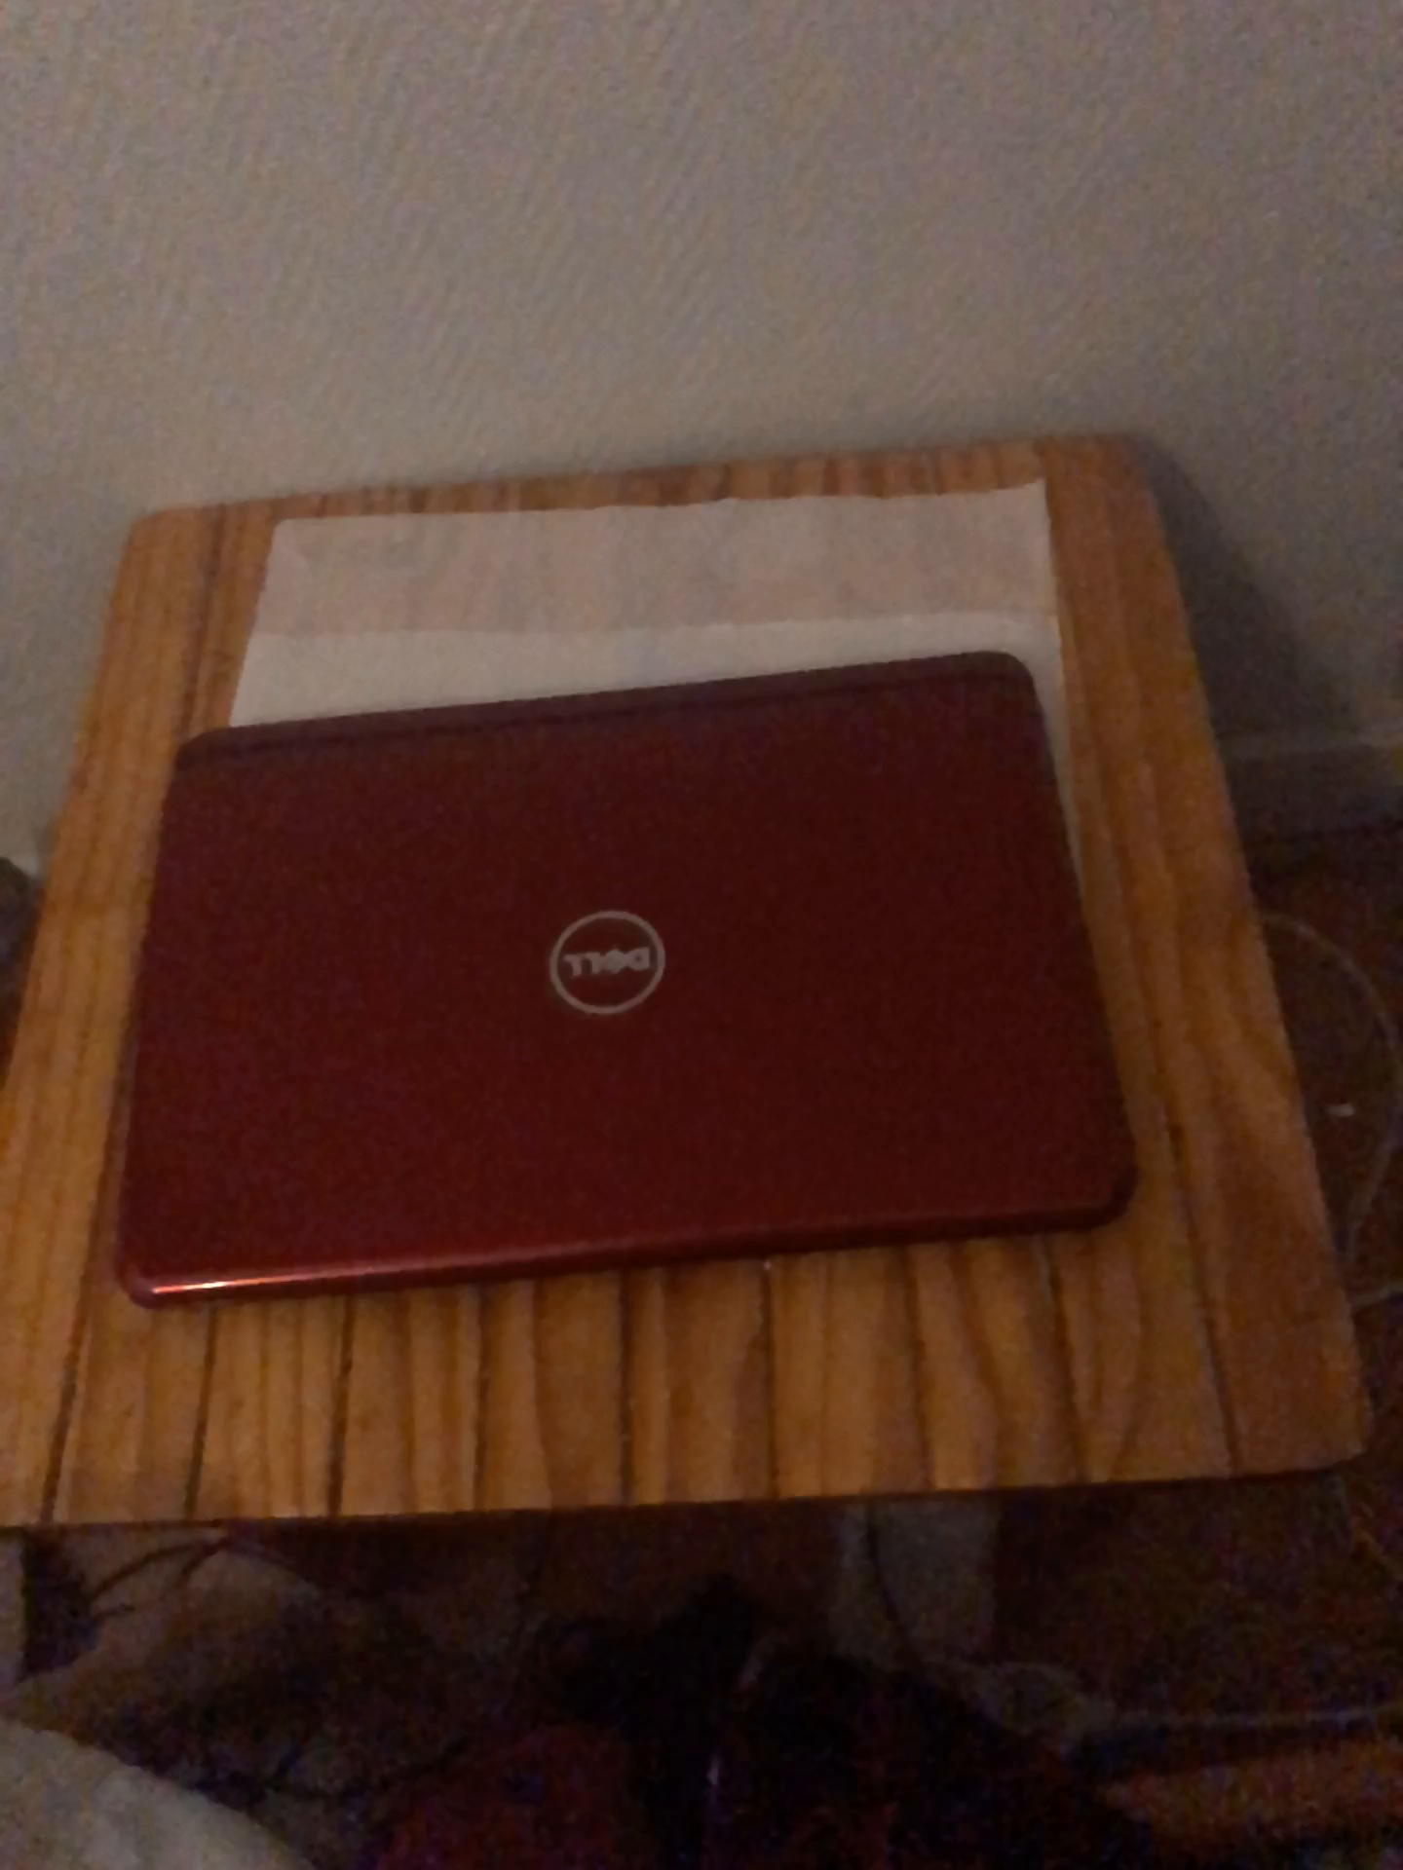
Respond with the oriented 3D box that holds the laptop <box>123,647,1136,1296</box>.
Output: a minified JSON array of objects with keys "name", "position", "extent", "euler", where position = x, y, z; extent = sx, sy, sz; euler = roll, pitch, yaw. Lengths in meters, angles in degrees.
[{"name":"laptop","position":[-0.036,0.005,0.619],"extent":[0.365,0.011,0.247],"euler":[-6,61,3]}]
